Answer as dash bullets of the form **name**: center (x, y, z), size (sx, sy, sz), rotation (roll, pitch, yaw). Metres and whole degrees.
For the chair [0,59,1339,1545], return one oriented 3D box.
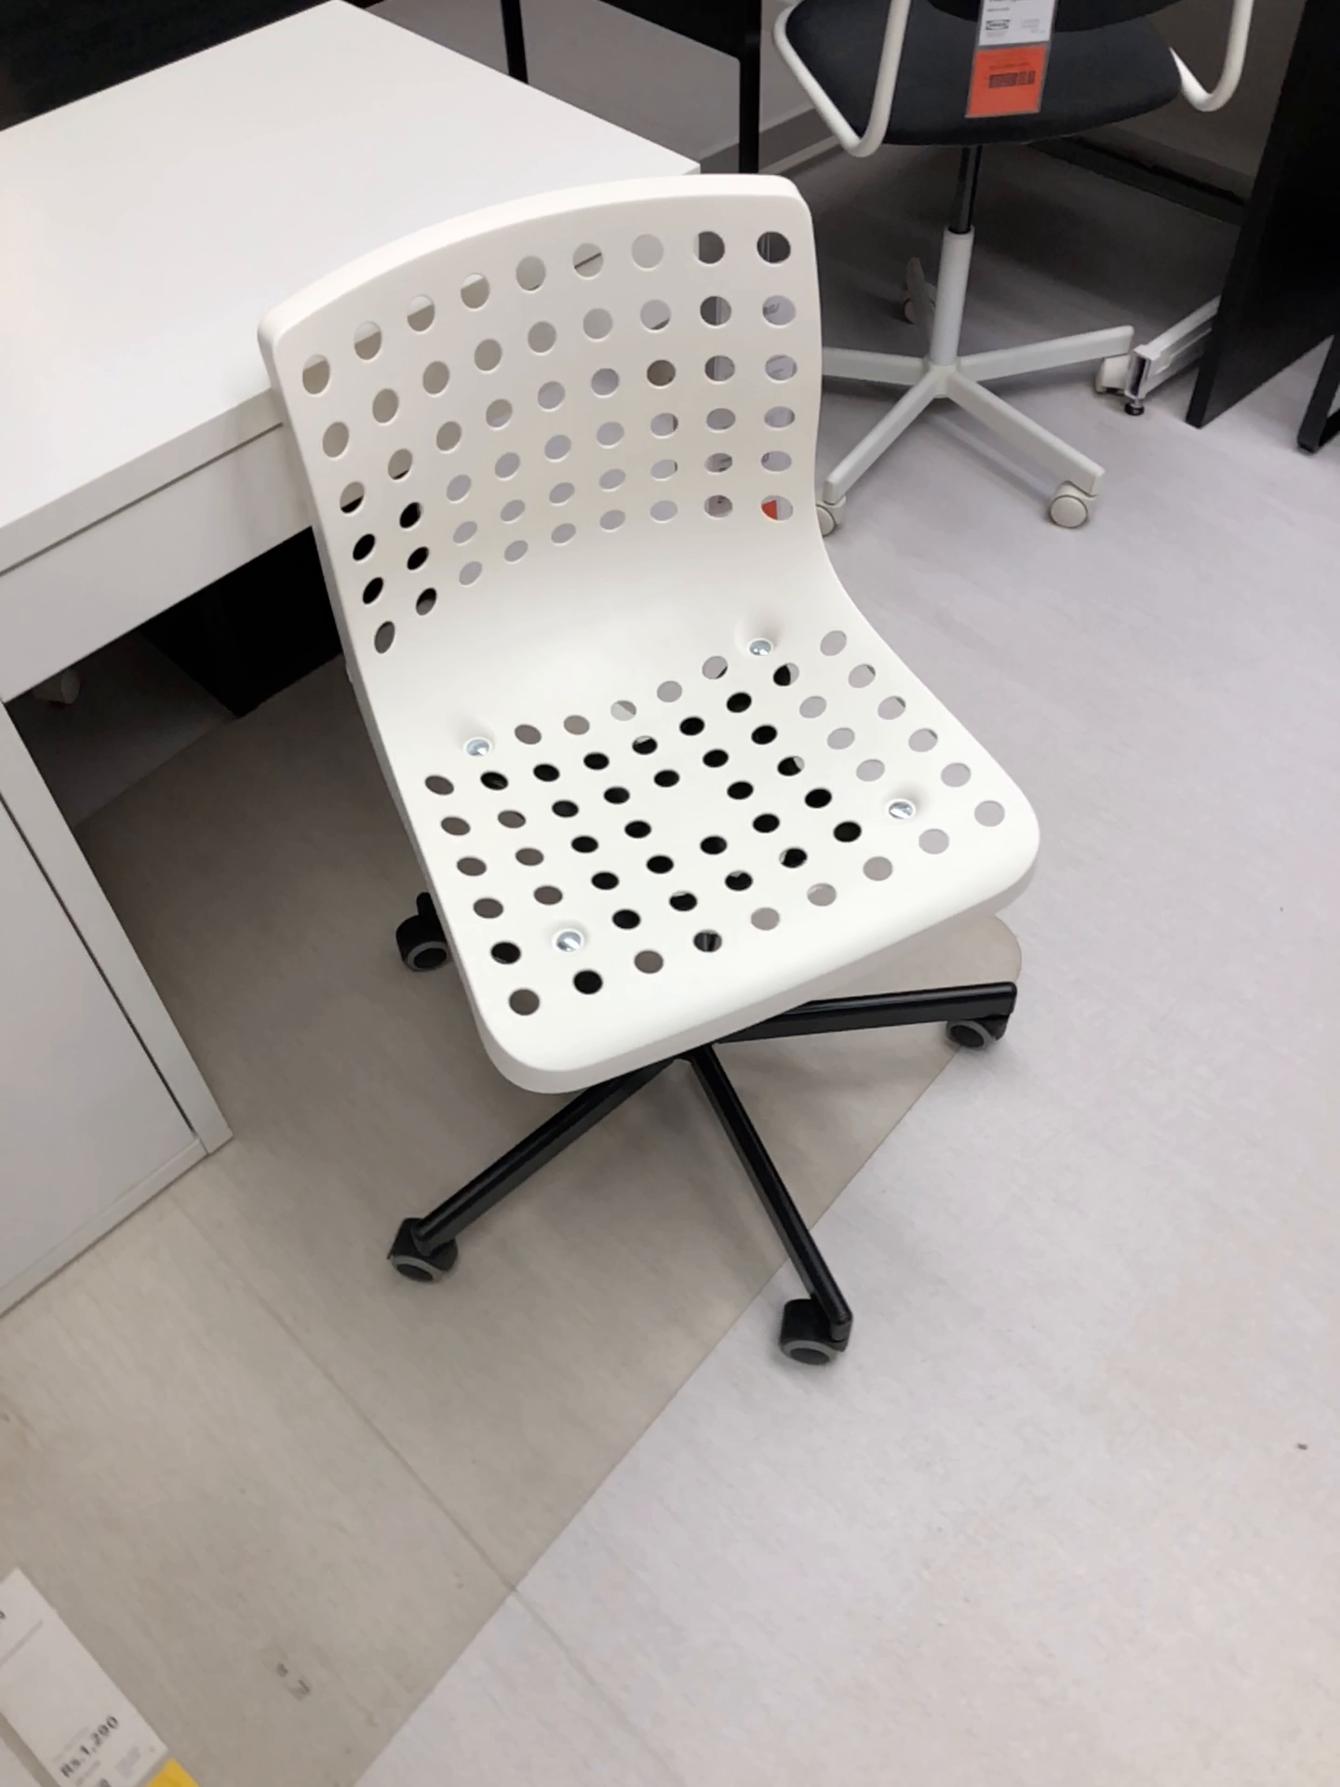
- **chair**: center (-0.011, -0.065, 1.143), size (0.671, 0.746, 0.653), rotation (-21, 53, -15)
